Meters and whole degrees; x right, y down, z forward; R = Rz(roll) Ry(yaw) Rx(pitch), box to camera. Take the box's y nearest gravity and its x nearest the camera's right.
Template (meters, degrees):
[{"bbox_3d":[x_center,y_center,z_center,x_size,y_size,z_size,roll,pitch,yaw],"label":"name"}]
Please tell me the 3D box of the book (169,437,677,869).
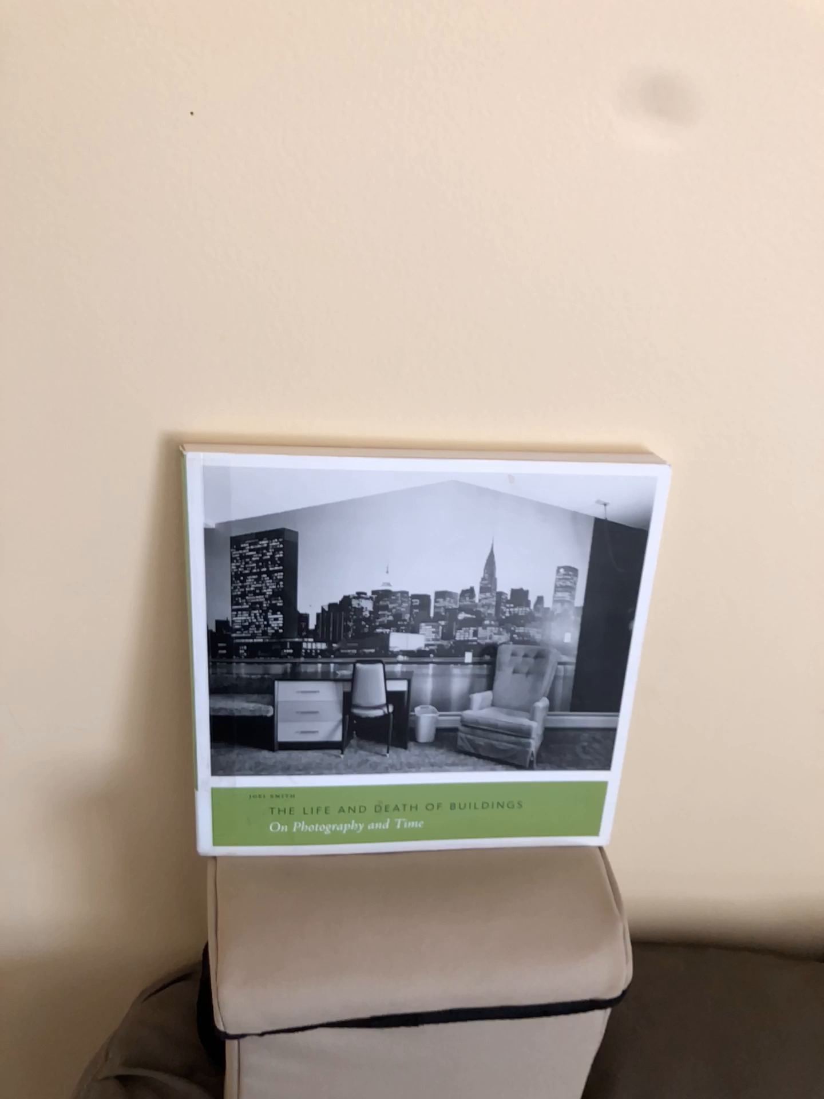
[{"bbox_3d":[0.002,0.053,0.426,0.216,0.203,0.020,0,20,-10],"label":"book"}]
